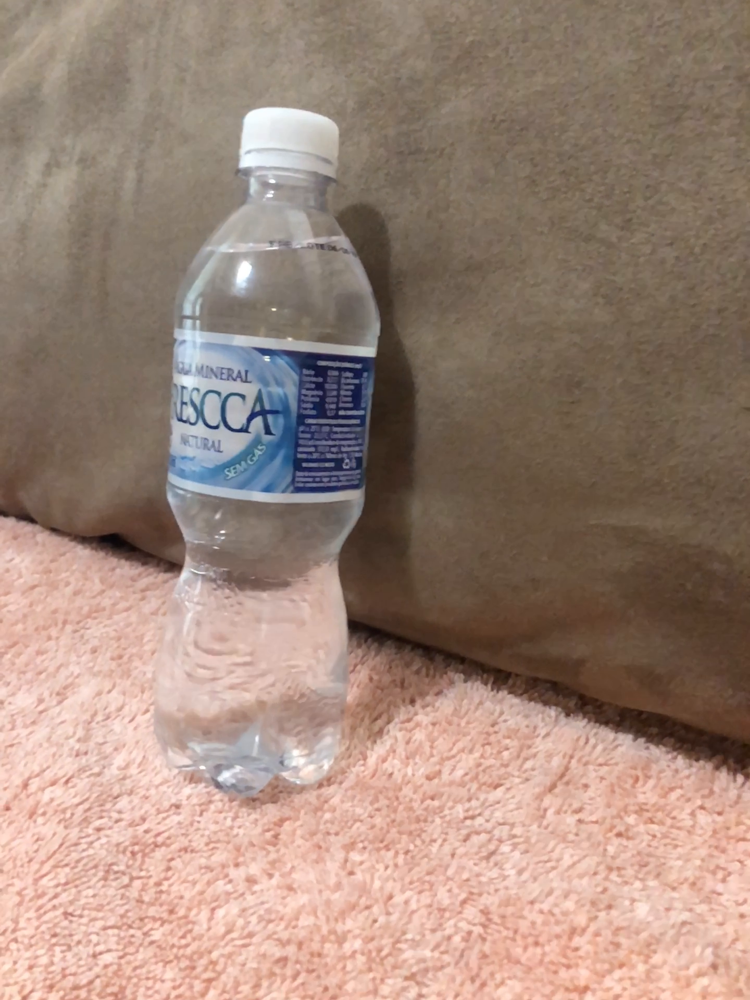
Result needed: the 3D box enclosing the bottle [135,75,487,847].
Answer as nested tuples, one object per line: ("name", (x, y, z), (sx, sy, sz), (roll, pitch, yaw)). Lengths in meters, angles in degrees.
("bottle", (-0.024, -0.012, 0.277), (0.070, 0.209, 0.080), (12, 13, 40))
